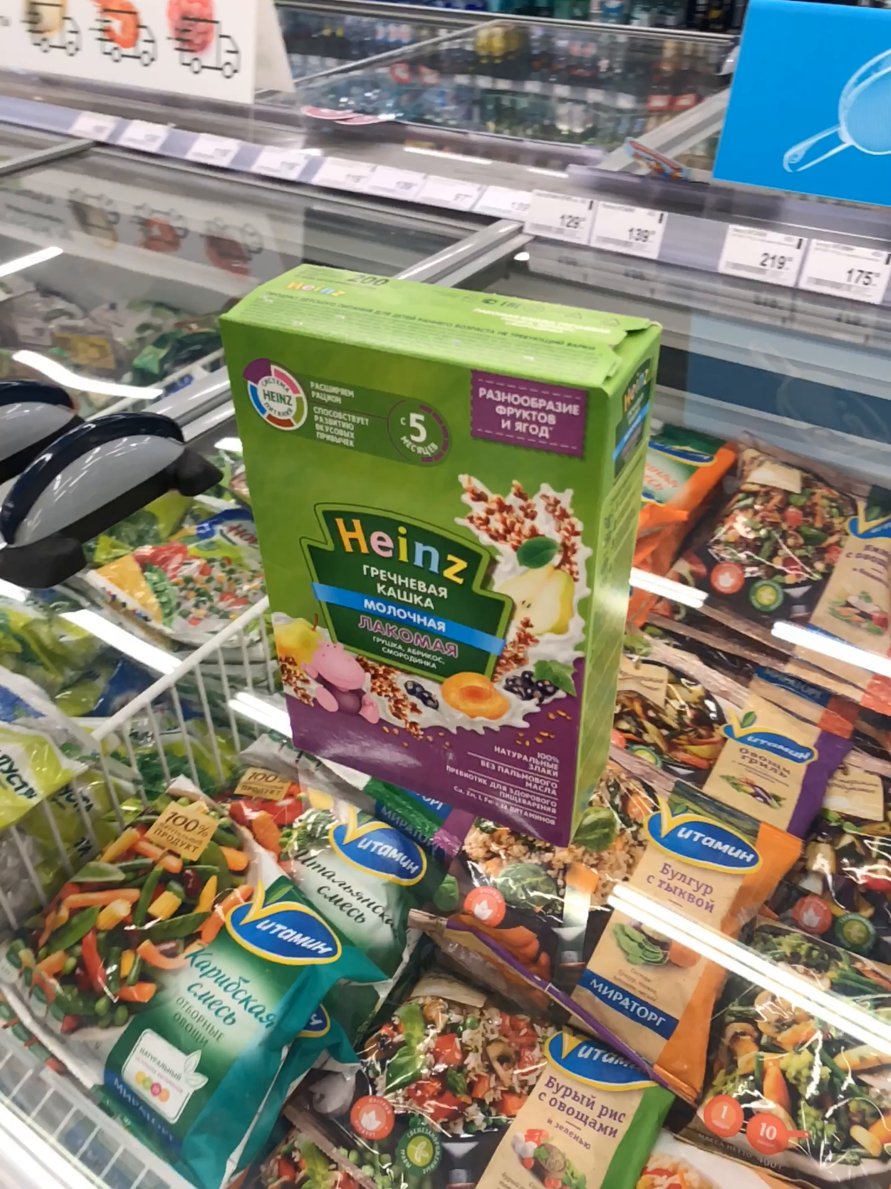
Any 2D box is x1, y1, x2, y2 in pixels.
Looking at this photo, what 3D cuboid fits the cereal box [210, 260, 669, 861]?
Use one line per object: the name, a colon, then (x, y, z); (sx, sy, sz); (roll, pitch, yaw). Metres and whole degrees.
cereal box: (-0.001, -0.006, 0.358); (0.130, 0.199, 0.050); (15, 41, 20)
